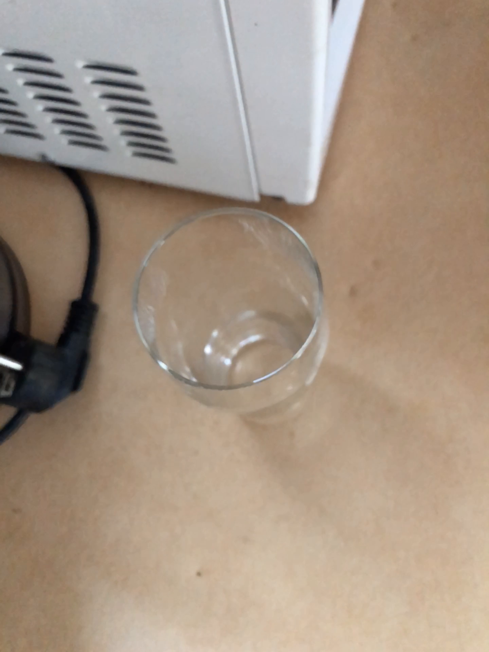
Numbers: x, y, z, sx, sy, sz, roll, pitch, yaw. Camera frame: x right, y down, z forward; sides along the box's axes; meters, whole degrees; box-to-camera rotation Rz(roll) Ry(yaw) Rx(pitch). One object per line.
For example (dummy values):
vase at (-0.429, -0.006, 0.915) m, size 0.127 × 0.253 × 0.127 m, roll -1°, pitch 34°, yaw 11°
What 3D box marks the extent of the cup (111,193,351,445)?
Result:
cup at (0.005, 0.008, 0.236) m, size 0.070 × 0.130 × 0.070 m, roll -2°, pitch 74°, yaw 7°
